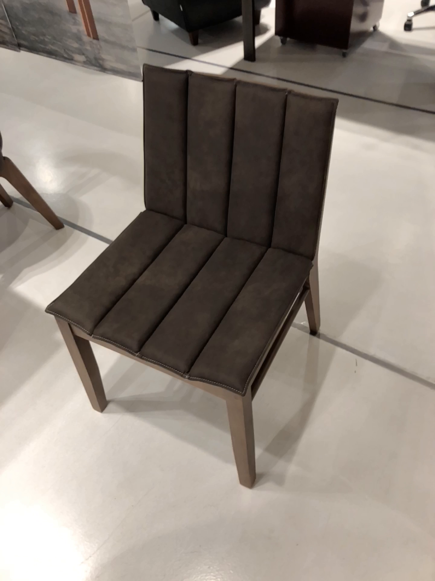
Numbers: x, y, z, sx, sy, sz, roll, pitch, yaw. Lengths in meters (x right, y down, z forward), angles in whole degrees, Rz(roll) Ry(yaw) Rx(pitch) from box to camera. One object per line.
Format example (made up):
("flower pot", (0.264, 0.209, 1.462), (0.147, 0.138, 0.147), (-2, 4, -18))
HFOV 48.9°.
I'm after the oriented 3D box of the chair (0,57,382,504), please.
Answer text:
("chair", (-0.025, -0.009, 1.150), (0.541, 0.775, 0.572), (20, 54, 22))
